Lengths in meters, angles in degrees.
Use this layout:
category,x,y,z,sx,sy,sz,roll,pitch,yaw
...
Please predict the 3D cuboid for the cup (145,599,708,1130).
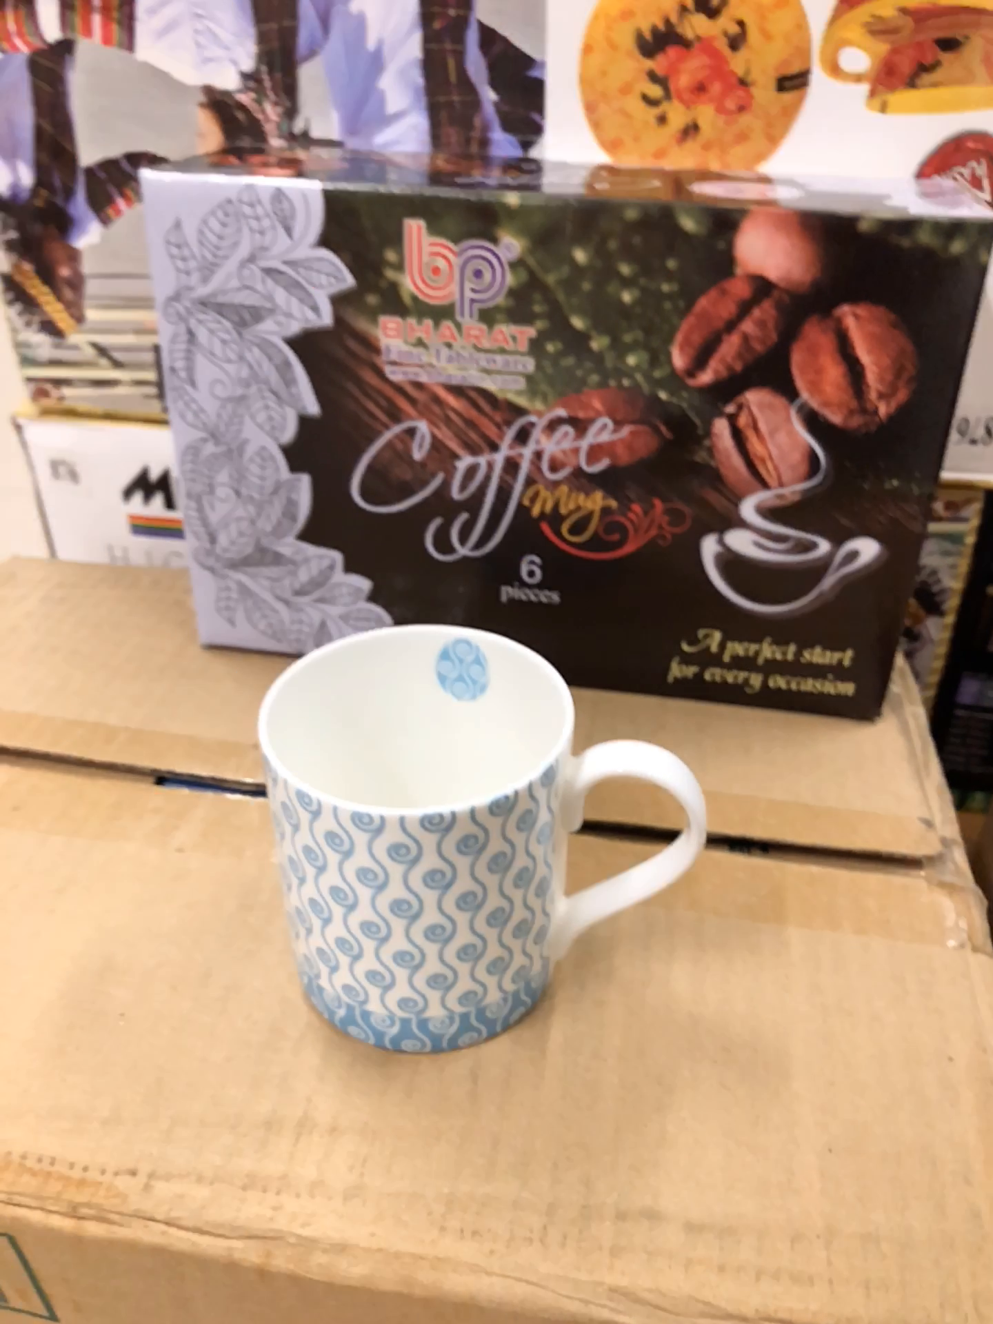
category,x,y,z,sx,sy,sz,roll,pitch,yaw
cup,-0.010,0.047,0.269,0.110,0.089,0.071,6,35,8
